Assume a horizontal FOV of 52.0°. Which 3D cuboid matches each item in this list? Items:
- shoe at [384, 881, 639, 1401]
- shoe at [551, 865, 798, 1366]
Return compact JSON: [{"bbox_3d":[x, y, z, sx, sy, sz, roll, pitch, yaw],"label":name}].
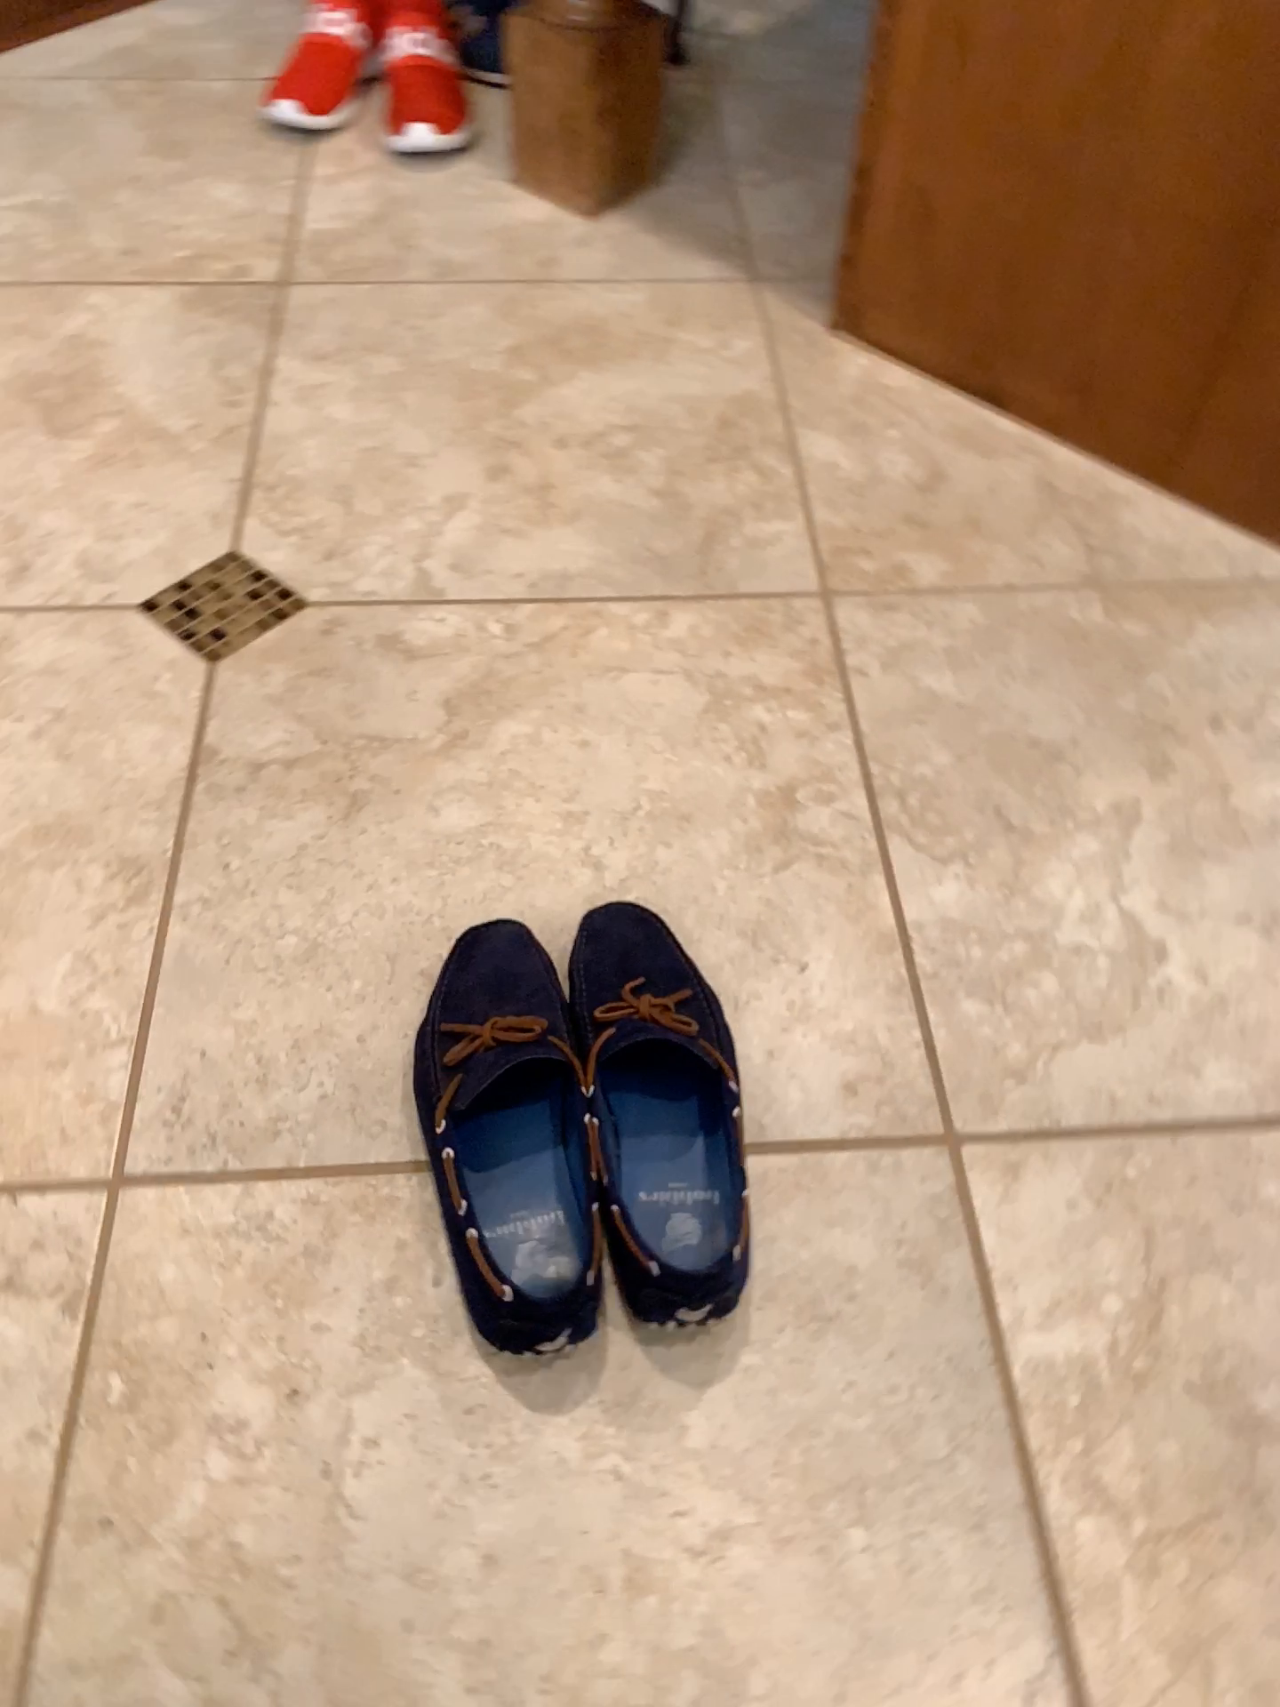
[{"bbox_3d":[-0.082,0.156,0.771,0.098,0.074,0.282,-9,53,-9],"label":"shoe"},{"bbox_3d":[0.011,0.145,0.787,0.098,0.074,0.282,-6,52,-7],"label":"shoe"}]
